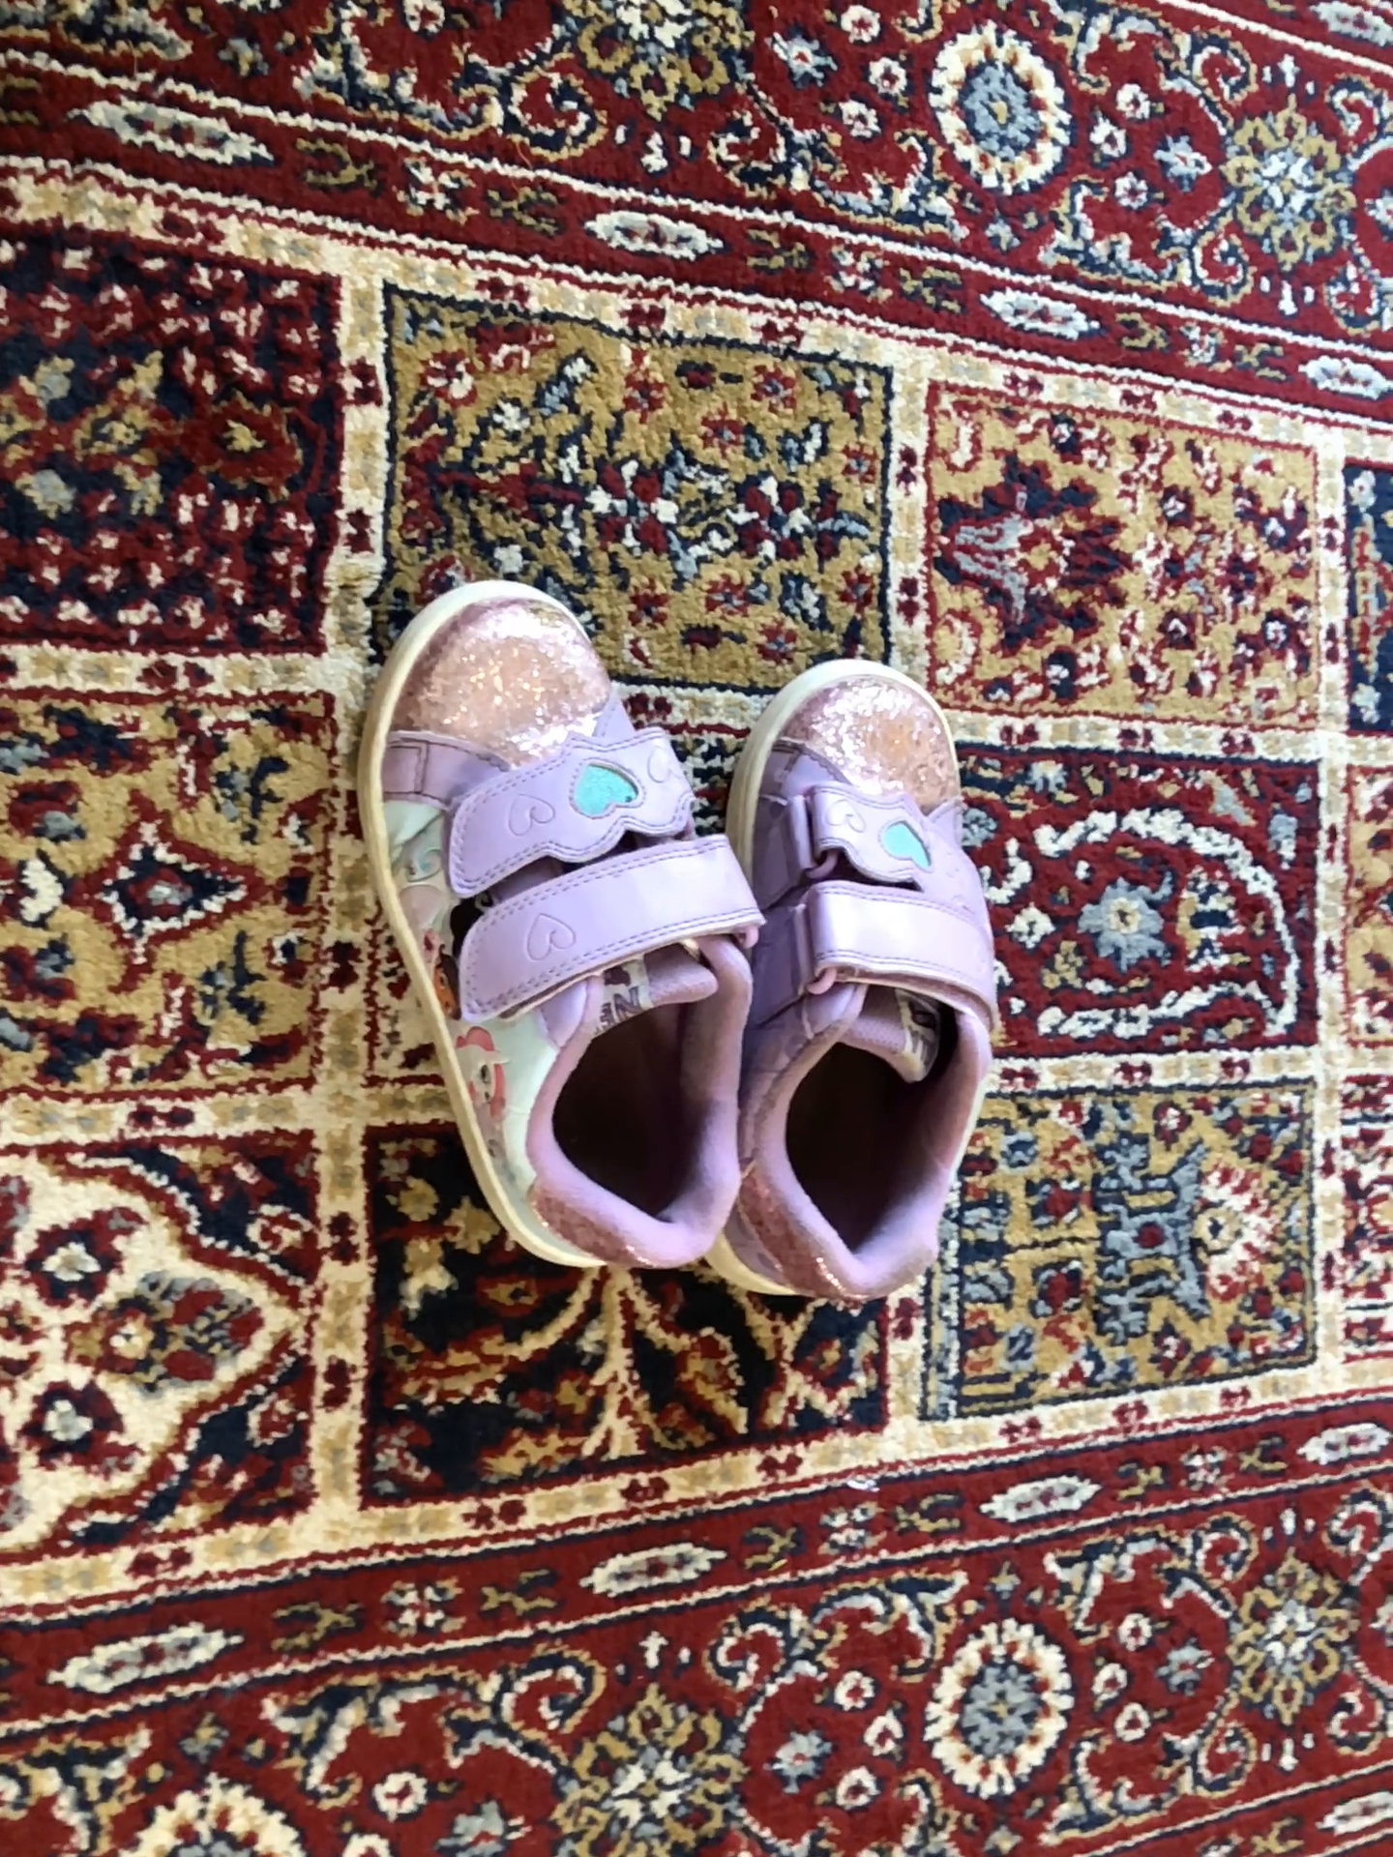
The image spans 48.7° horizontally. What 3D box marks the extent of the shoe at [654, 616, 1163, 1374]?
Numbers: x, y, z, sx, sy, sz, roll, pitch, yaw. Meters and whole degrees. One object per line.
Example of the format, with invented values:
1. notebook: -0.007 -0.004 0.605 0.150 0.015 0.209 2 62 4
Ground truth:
1. shoe: 0.062 0.022 0.469 0.100 0.090 0.200 9 86 -24

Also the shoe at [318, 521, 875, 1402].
1. shoe: -0.031 0.006 0.431 0.090 0.090 0.208 -13 95 -23
